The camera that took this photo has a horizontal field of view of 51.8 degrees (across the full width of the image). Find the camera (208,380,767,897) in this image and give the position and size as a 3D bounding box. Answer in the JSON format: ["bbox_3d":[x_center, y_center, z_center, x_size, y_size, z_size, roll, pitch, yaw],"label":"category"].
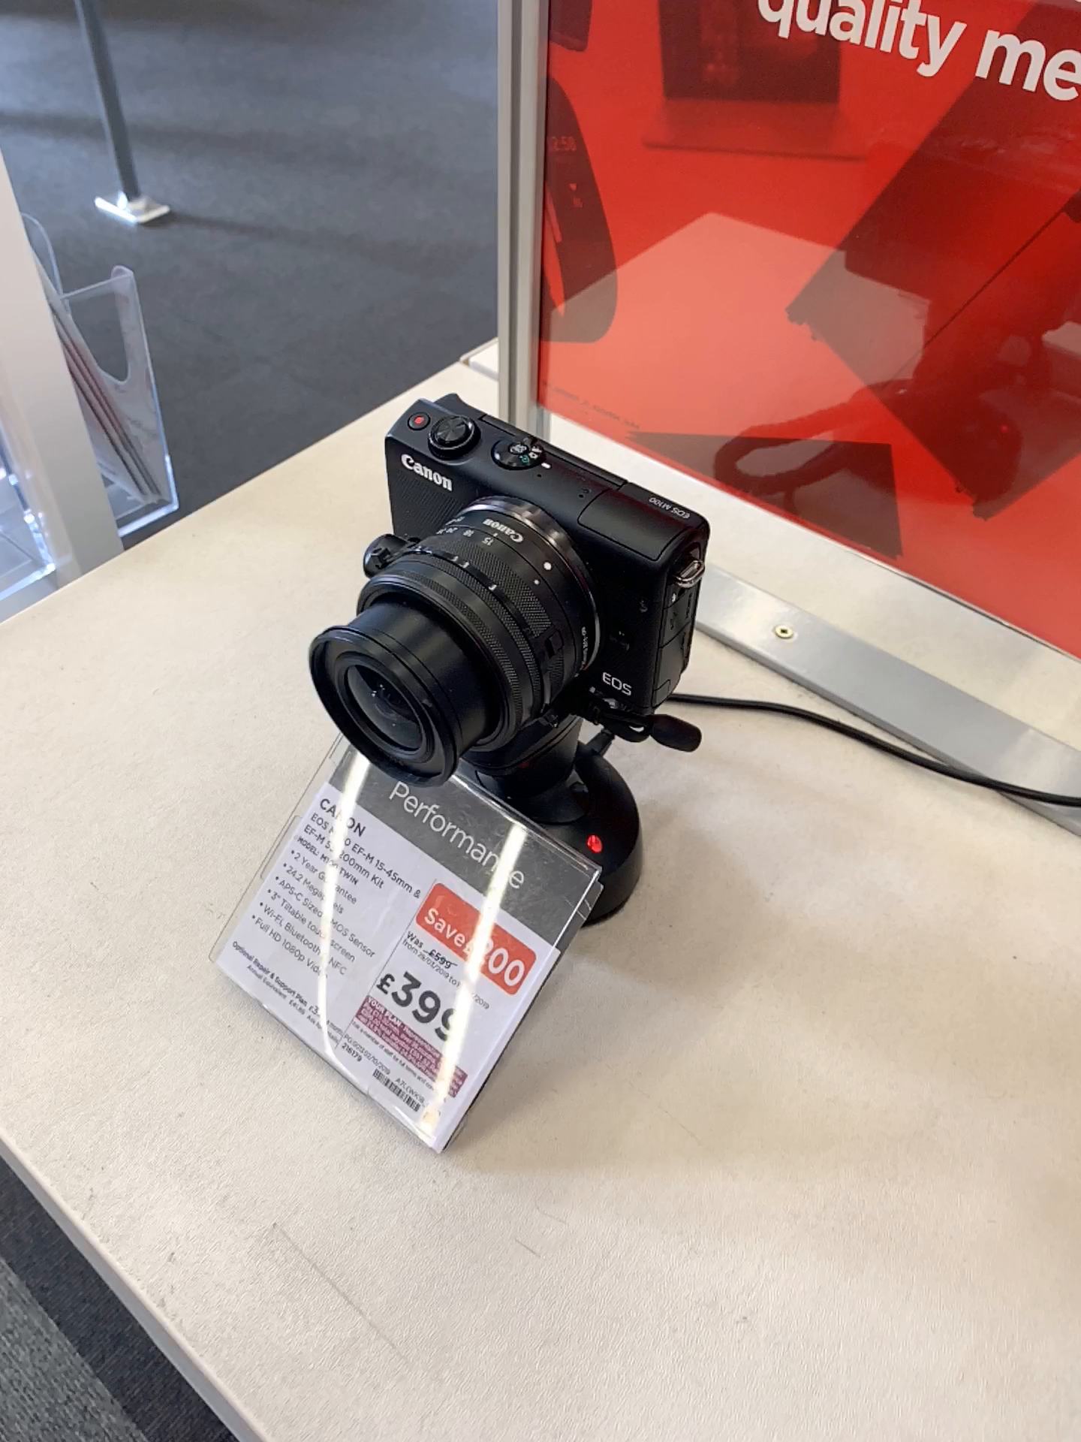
[{"bbox_3d":[-0.015,-0.031,0.337,0.120,0.069,0.101,30,53,23],"label":"camera"}]
